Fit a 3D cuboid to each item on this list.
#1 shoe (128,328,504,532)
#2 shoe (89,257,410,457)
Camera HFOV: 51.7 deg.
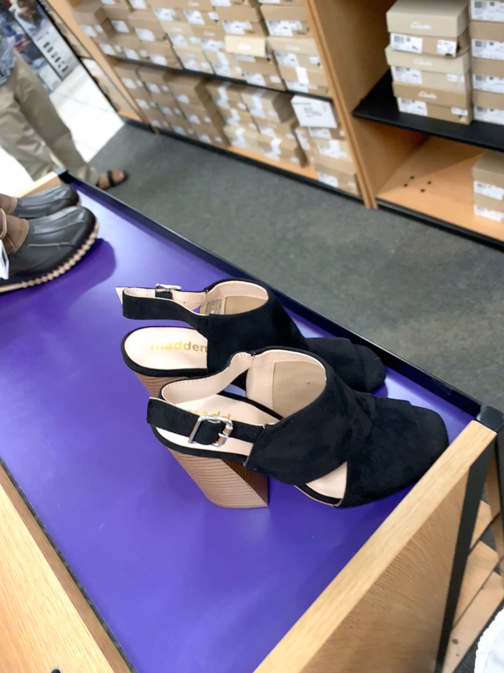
[{"bbox_3d":[0.041,0.071,0.361,0.220,0.140,0.080,-3,57,-2],"label":"shoe"},{"bbox_3d":[-0.002,0.021,0.419,0.220,0.110,0.080,-10,56,1],"label":"shoe"}]
